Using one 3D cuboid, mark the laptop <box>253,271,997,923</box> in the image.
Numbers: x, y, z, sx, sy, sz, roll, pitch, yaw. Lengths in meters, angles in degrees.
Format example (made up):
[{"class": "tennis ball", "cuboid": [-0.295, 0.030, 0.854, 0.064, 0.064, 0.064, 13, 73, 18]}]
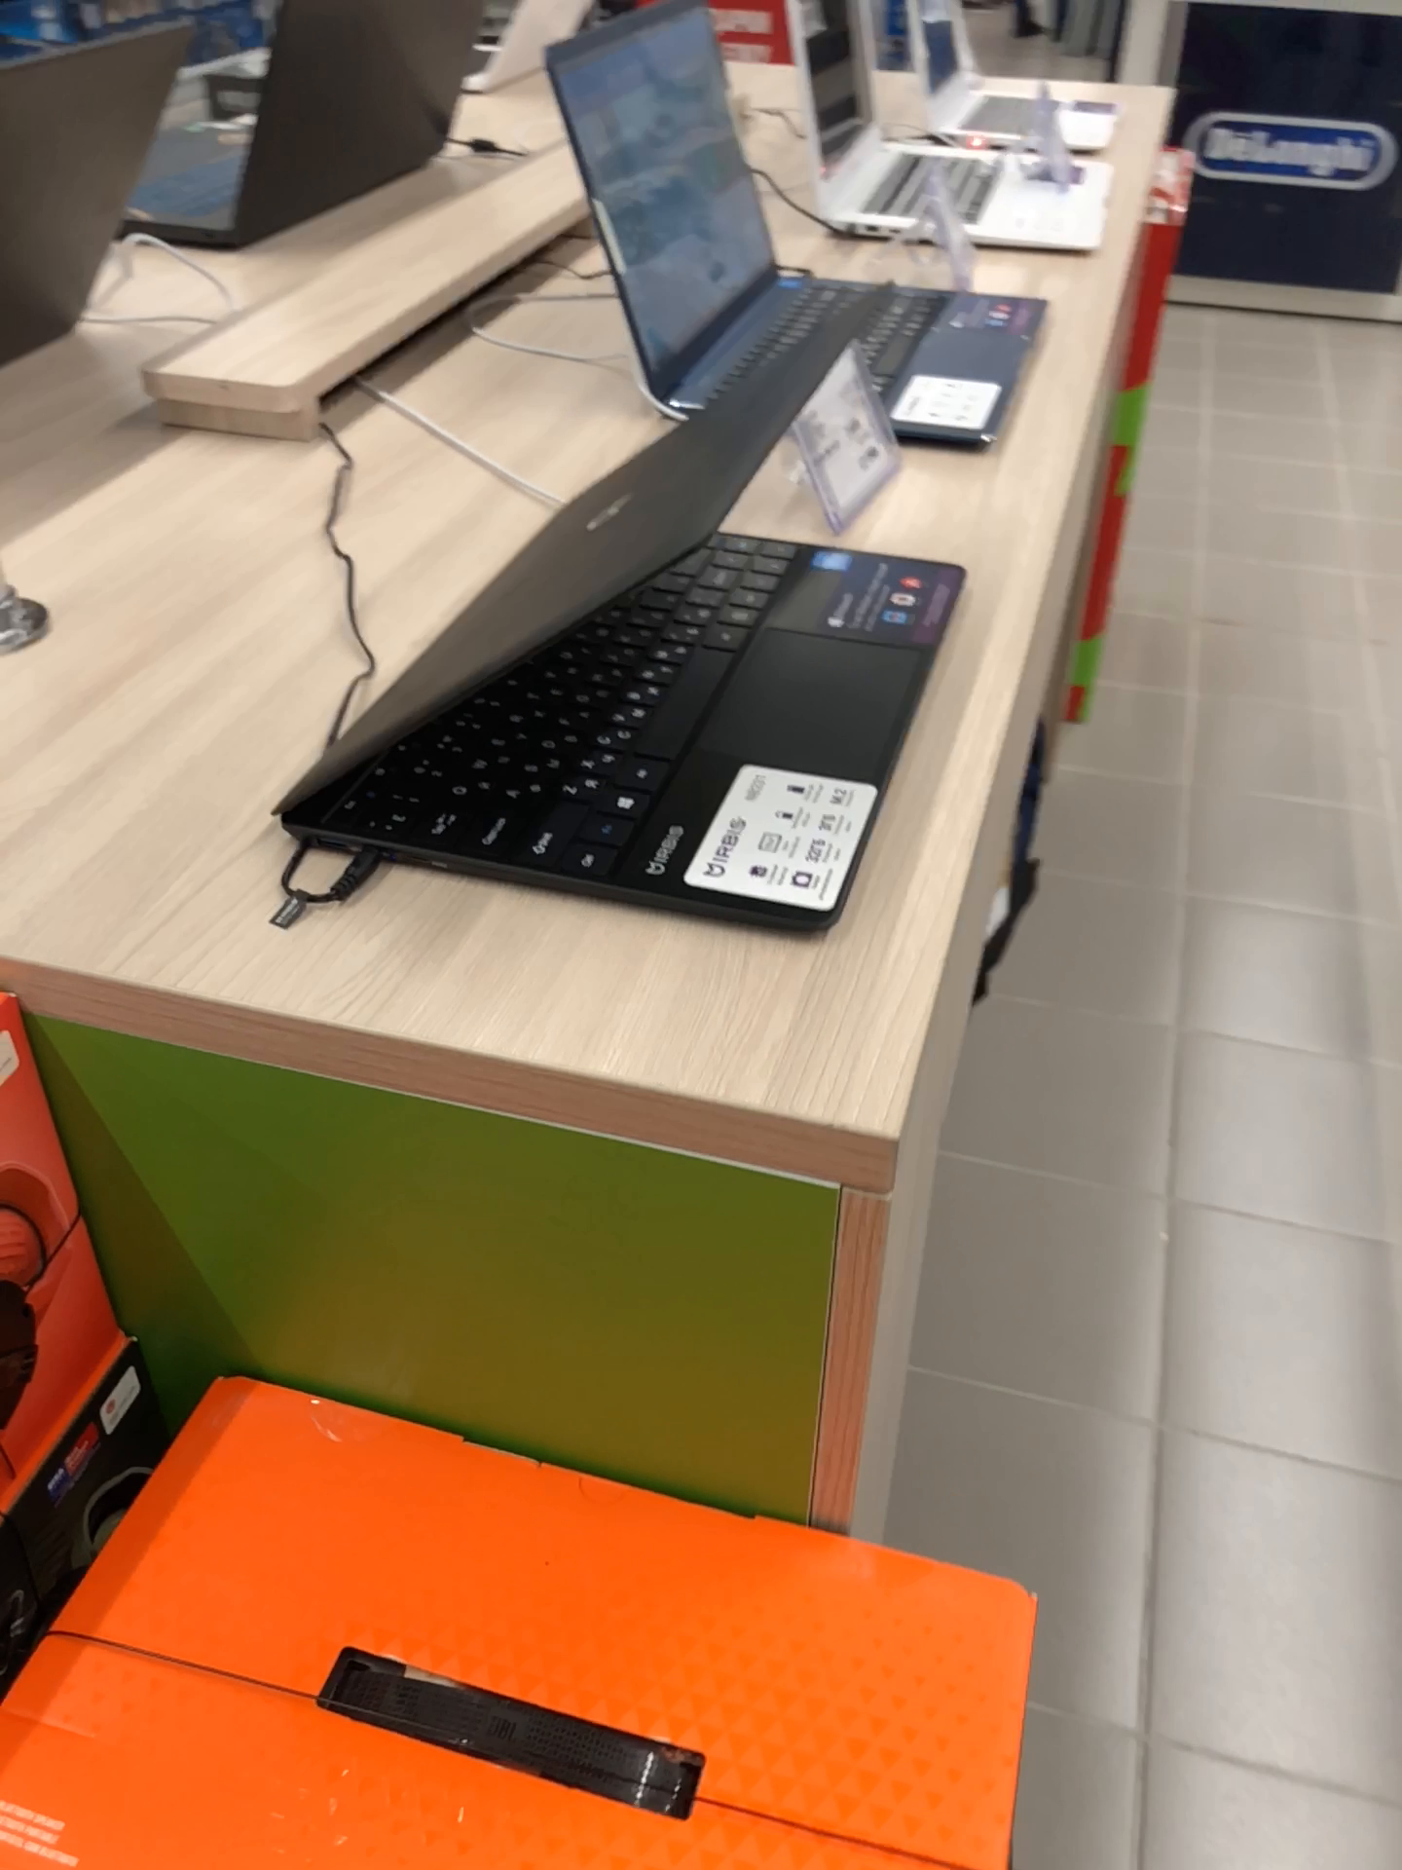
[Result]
[{"class": "laptop", "cuboid": [-0.008, -0.161, 0.642, 0.203, 0.132, 0.300, 11, 38, 13]}]
